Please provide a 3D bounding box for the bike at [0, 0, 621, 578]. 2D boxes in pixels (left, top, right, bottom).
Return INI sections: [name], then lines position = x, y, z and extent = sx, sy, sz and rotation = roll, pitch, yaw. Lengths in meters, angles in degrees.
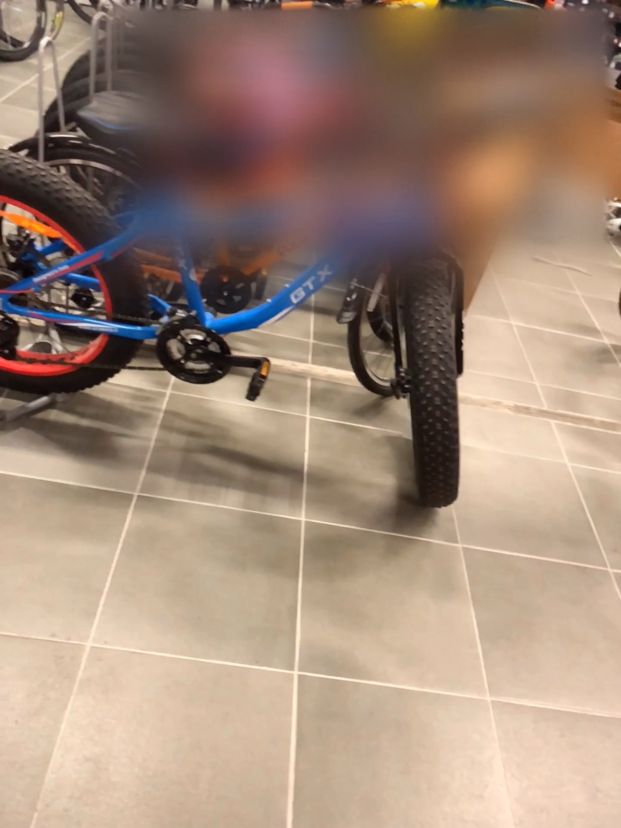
[bike]
position = -0.285, -0.314, 1.546
extent = 1.467, 1.023, 0.618
rotation = 10, 37, -7
